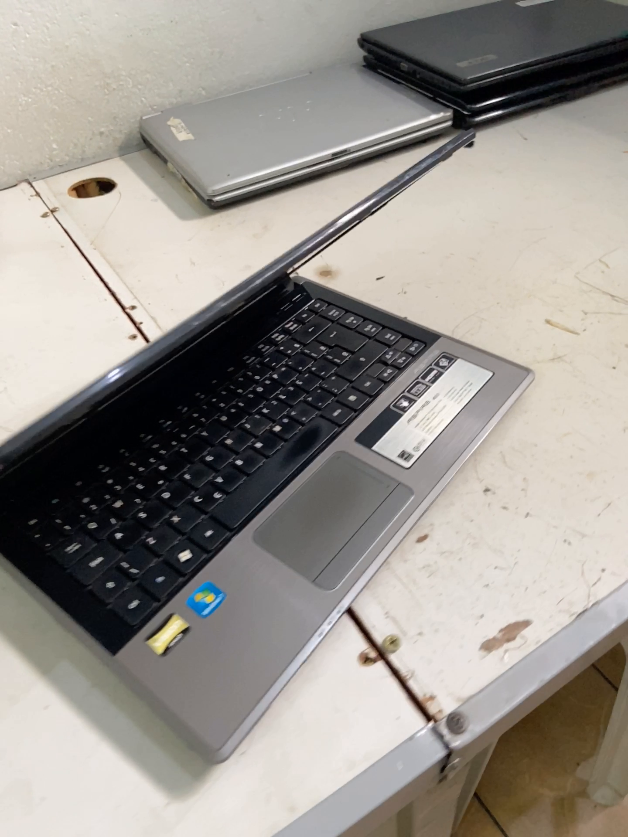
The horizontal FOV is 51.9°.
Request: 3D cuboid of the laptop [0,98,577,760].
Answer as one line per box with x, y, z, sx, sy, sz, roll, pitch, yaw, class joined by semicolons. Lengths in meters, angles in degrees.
-0.031;-0.040;0.393;0.226;0.157;0.335;27;52;27;laptop
